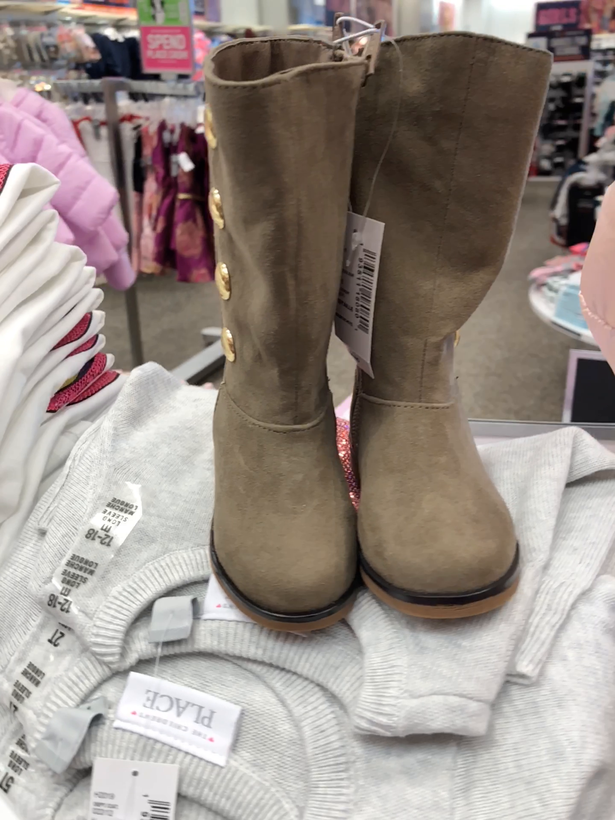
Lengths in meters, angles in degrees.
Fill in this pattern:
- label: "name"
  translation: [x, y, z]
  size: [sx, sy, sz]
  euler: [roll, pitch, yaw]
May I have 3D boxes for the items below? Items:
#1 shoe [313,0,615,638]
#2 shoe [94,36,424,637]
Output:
- label: "shoe"
  translation: [0.047, -0.040, 0.263]
  size: [0.070, 0.184, 0.148]
  euler: [-4, 24, -2]
- label: "shoe"
  translation: [-0.012, -0.035, 0.256]
  size: [0.070, 0.164, 0.156]
  euler: [-4, 35, -2]
